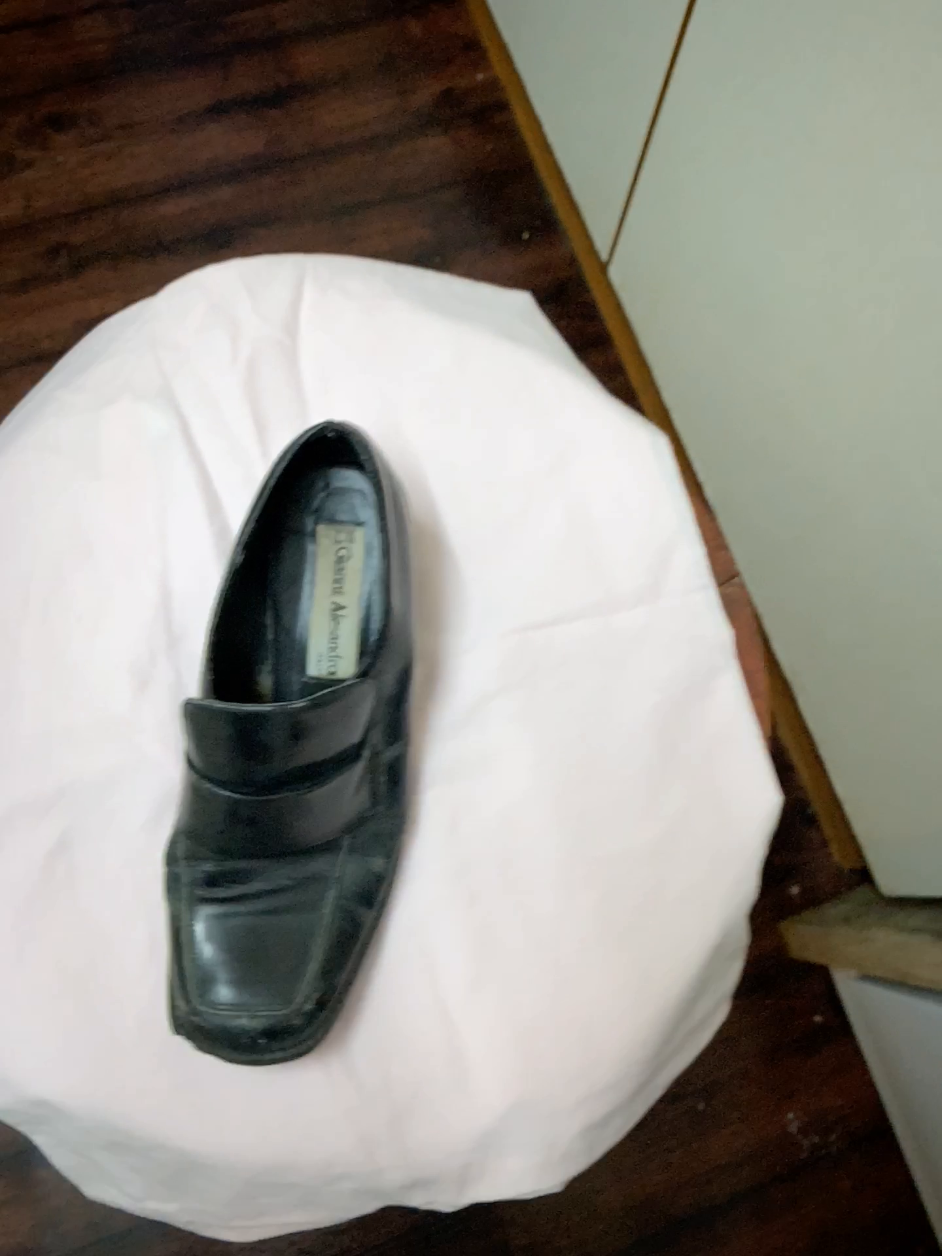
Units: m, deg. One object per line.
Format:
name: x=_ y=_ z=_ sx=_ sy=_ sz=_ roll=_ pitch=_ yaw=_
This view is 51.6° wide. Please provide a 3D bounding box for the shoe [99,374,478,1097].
shoe: x=-0.059 y=0.037 z=0.380 sx=0.090 sy=0.092 sz=0.241 roll=8 pitch=75 yaw=-2
